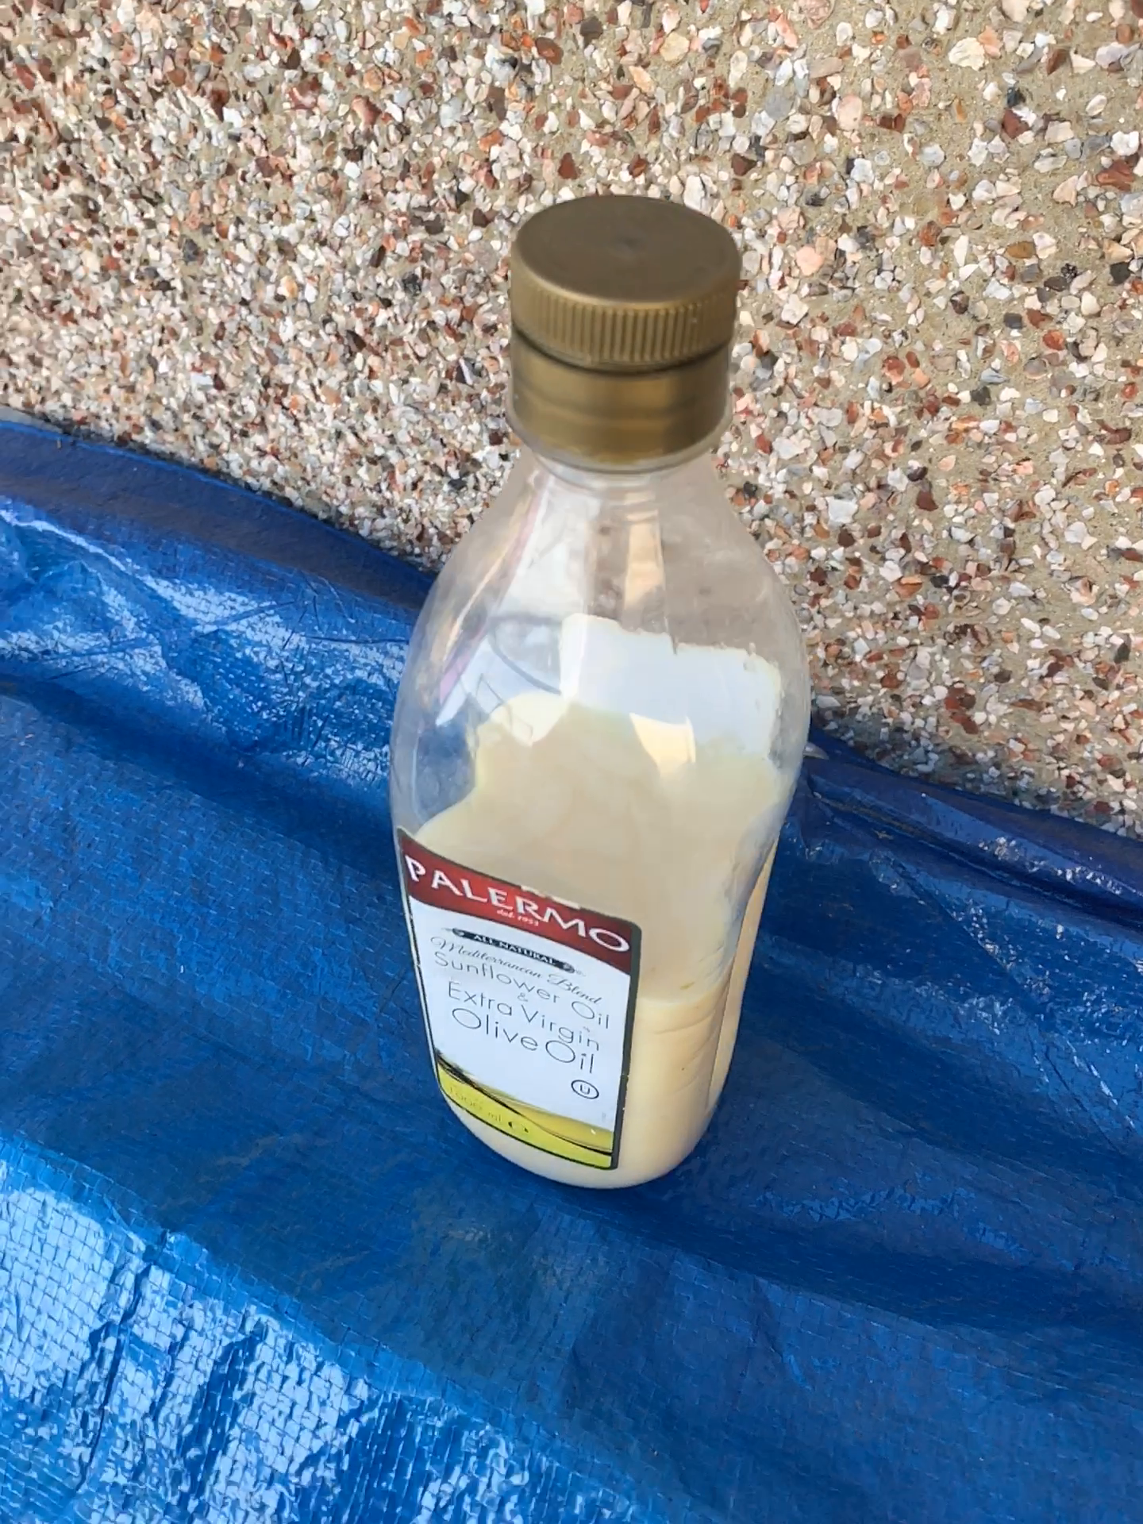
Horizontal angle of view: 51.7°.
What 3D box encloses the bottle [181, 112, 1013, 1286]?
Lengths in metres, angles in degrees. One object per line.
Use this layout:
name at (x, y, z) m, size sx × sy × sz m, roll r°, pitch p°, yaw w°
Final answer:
bottle at (0.010, 0.014, 0.243) m, size 0.080 × 0.238 × 0.081 m, roll -1°, pitch 50°, yaw 1°
